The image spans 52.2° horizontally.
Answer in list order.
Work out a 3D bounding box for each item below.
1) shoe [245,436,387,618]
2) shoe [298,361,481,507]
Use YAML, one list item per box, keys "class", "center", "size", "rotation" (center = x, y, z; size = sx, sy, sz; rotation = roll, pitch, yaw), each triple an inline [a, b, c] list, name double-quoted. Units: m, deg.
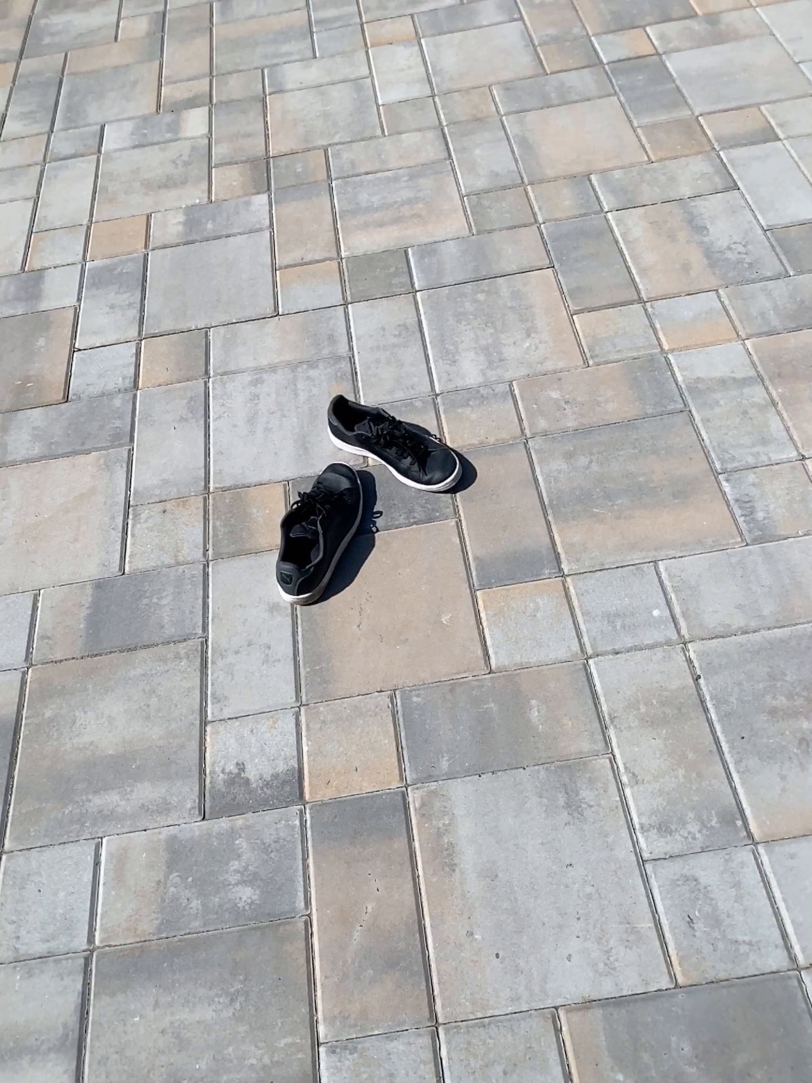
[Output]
- class: "shoe"
  center: [-0.133, -0.026, 1.292]
  size: [0.110, 0.110, 0.250]
  rotation: [14, 59, 17]
- class: "shoe"
  center: [-0.027, -0.182, 1.374]
  size: [0.281, 0.100, 0.110]
  rotation: [27, 64, 24]
